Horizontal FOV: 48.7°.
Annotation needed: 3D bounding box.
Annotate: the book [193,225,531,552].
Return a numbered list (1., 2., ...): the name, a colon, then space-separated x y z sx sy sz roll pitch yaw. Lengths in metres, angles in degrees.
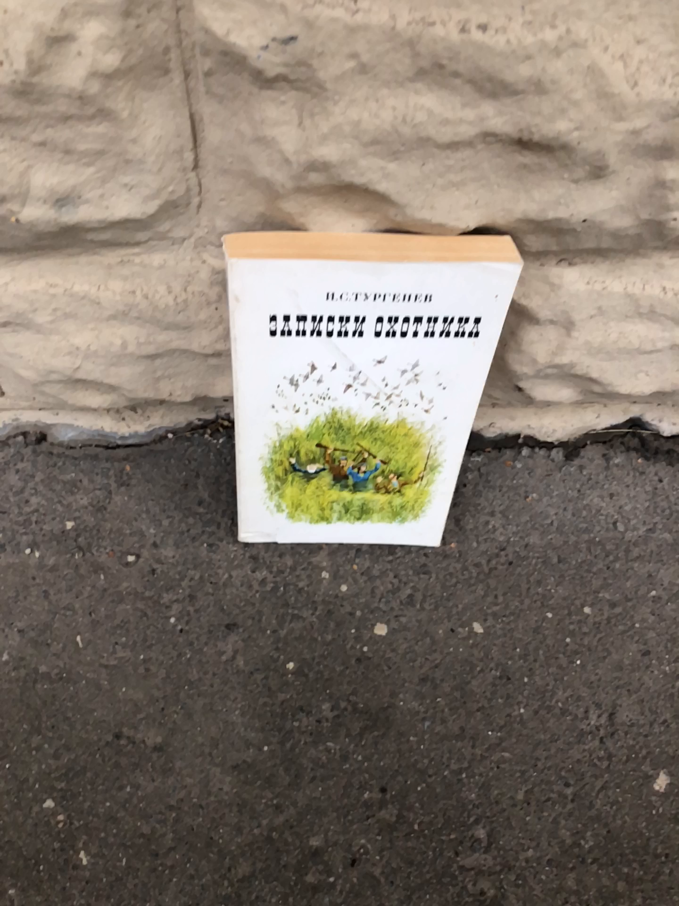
1. book: 0.005 -0.020 0.377 0.137 0.183 0.032 0 45 -3
